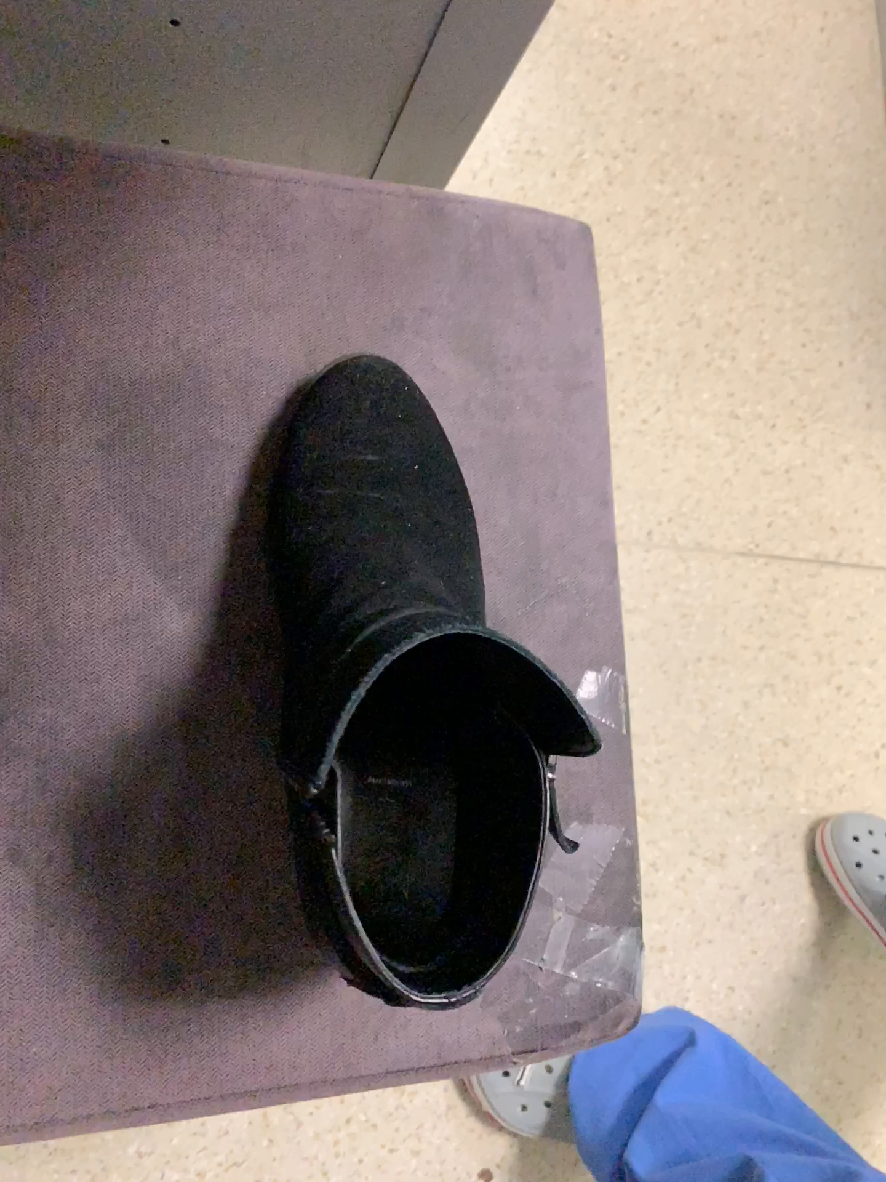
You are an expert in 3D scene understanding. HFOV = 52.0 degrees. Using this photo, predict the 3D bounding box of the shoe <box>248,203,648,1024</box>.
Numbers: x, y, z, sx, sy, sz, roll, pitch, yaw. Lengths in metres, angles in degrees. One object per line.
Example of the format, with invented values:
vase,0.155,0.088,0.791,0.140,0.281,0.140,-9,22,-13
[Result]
shoe,-0.011,0.010,0.338,0.100,0.138,0.235,2,79,-19
